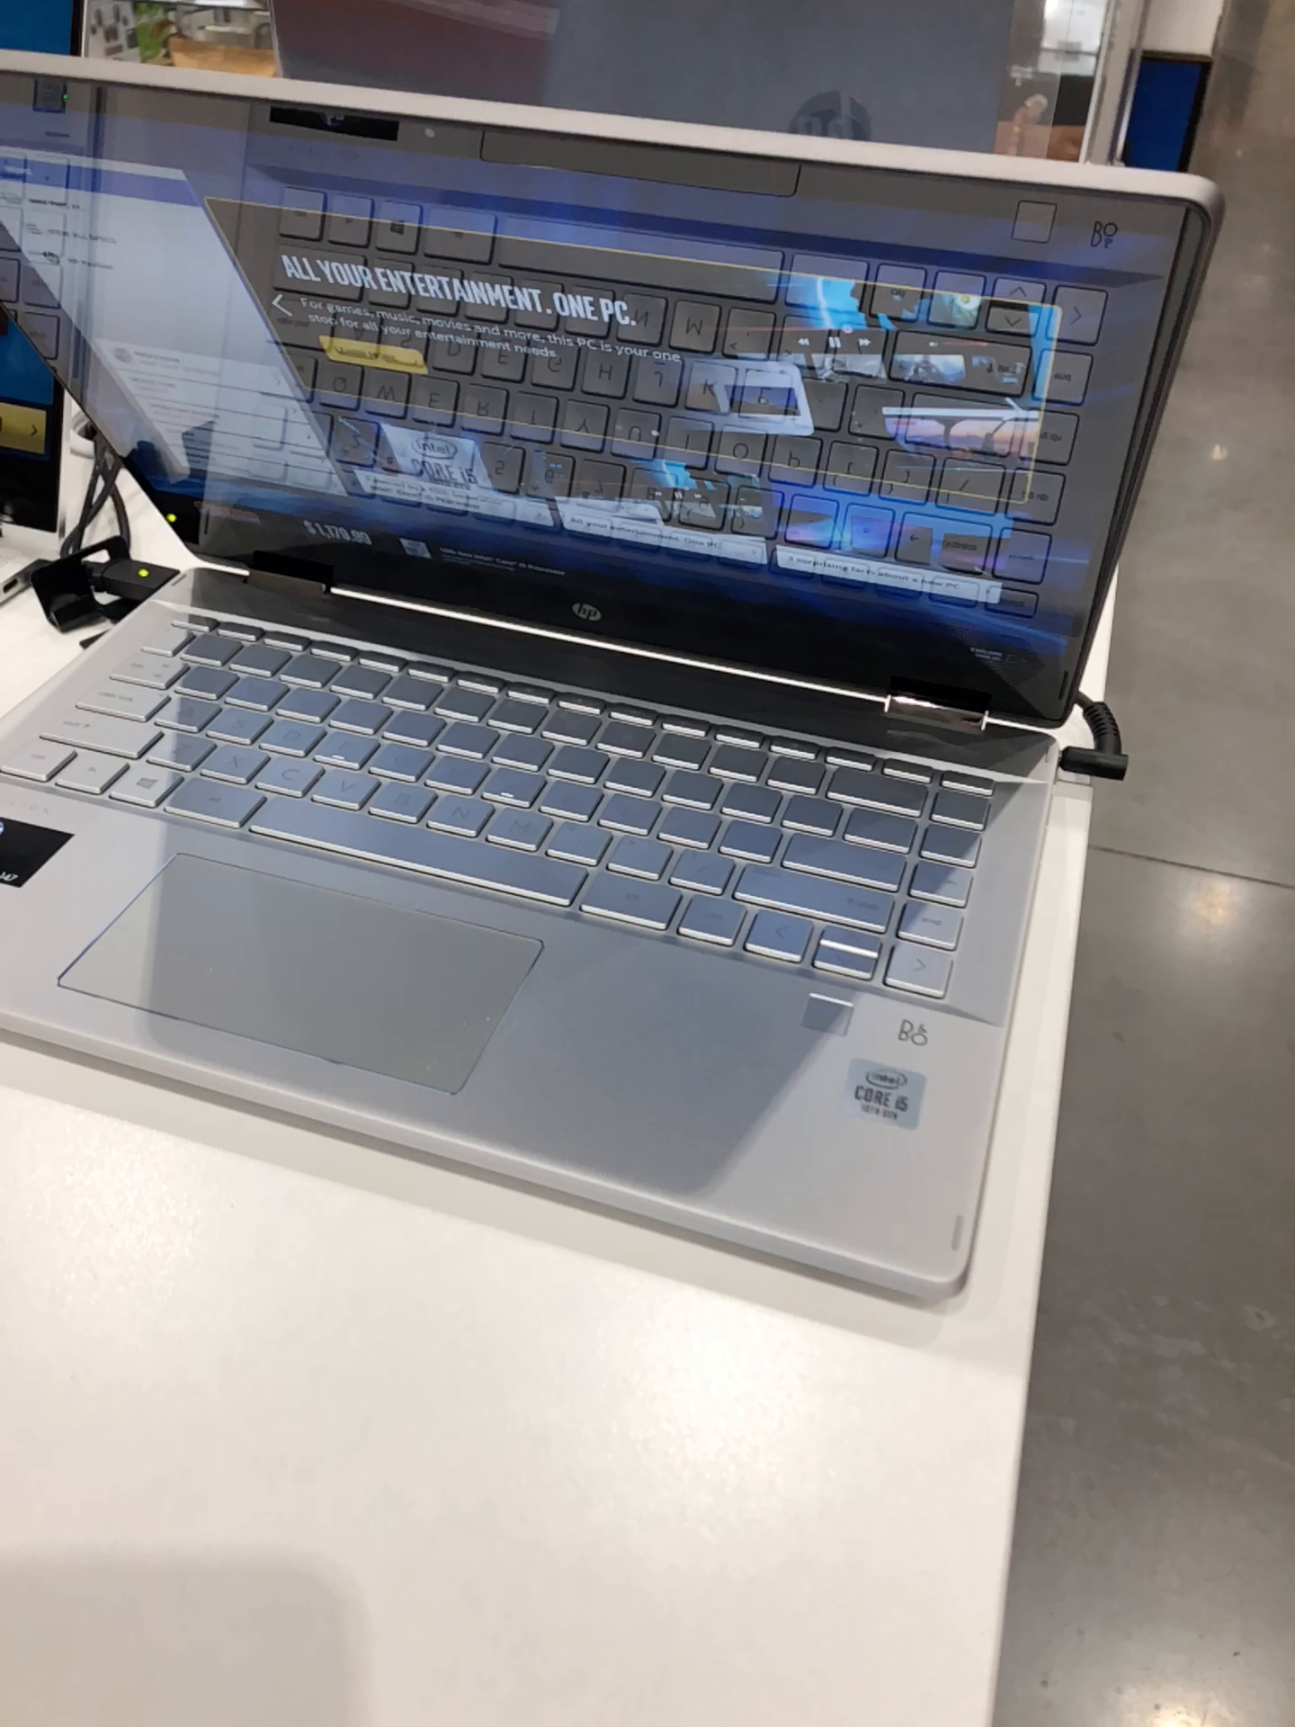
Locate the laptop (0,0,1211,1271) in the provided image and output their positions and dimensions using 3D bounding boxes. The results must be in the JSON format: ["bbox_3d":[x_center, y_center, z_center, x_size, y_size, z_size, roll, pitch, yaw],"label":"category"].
[{"bbox_3d":[-0.052,-0.084,0.355,0.318,0.185,0.207,13,40,14],"label":"laptop"}]
